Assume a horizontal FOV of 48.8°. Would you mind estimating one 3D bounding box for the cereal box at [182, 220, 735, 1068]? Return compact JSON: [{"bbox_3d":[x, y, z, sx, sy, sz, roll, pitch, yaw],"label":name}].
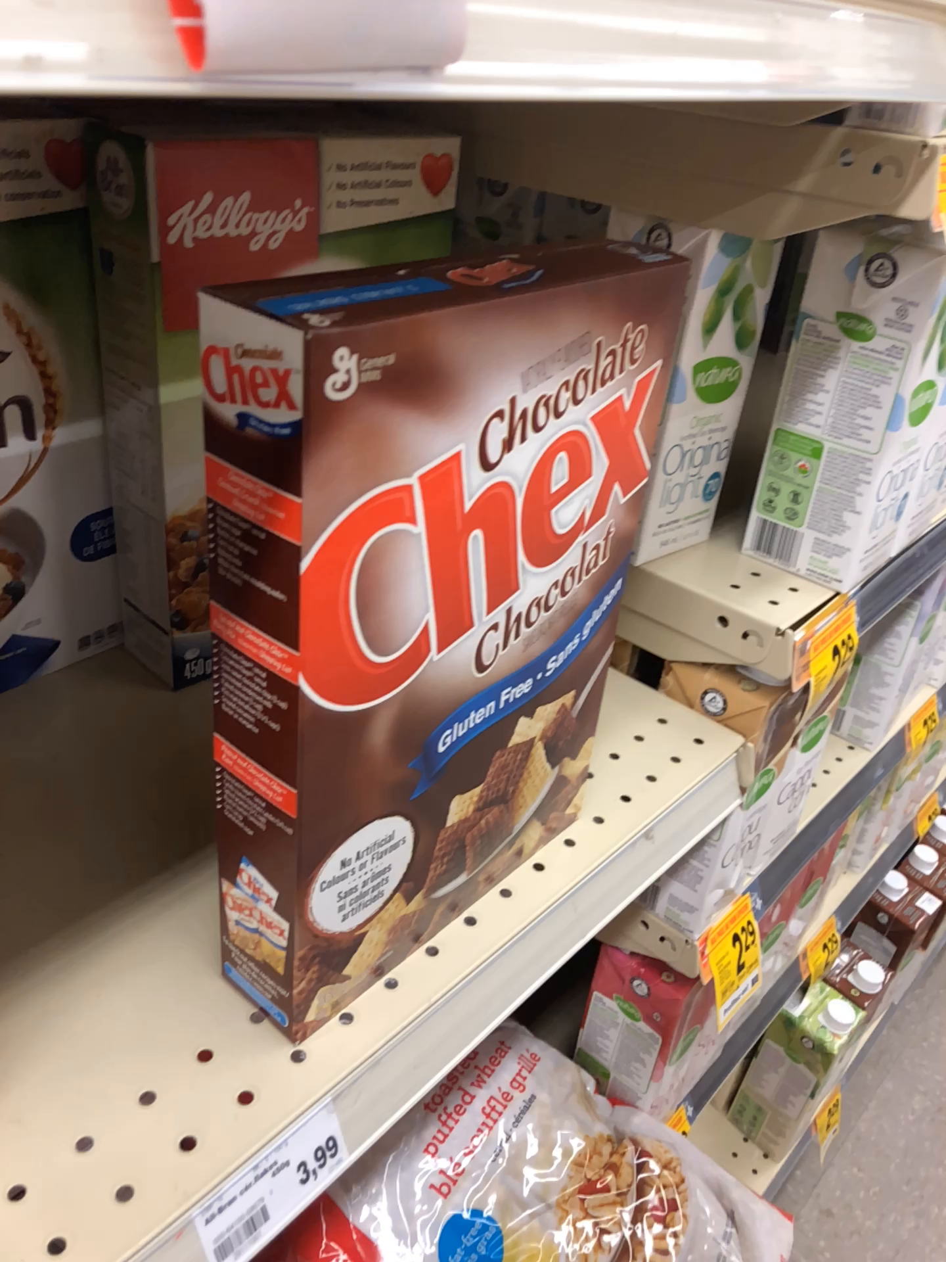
[{"bbox_3d":[-0.004,0.000,0.404,0.050,0.278,0.211,28,37,31],"label":"cereal box"}]
